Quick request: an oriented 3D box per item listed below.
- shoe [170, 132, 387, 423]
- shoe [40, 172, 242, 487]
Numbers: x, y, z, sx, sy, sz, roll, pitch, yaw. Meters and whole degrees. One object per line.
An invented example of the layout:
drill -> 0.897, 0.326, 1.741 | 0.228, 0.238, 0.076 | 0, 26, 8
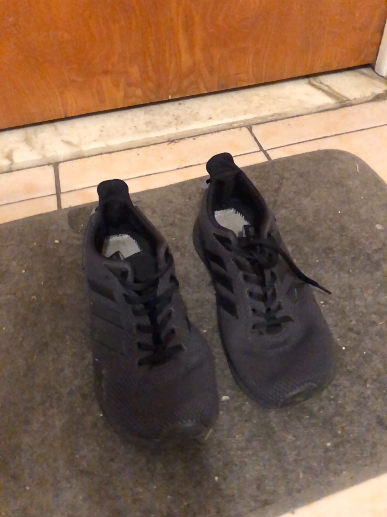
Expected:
shoe -> 0.061, 0.004, 0.433 | 0.110, 0.119, 0.262 | -12, 50, -6
shoe -> -0.063, 0.050, 0.415 | 0.110, 0.119, 0.262 | -14, 50, -14
